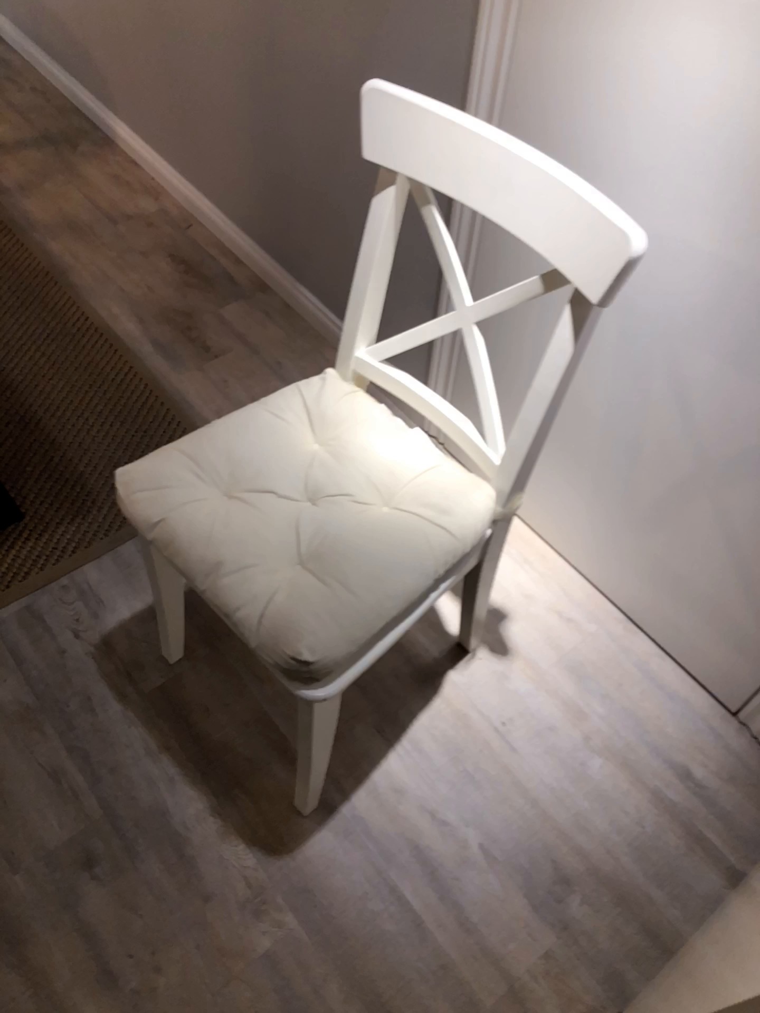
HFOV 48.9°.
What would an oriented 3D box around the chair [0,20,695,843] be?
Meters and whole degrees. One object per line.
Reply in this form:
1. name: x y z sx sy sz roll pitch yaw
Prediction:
1. chair: -0.065 -0.031 1.111 0.512 0.875 0.451 -37 63 -27
